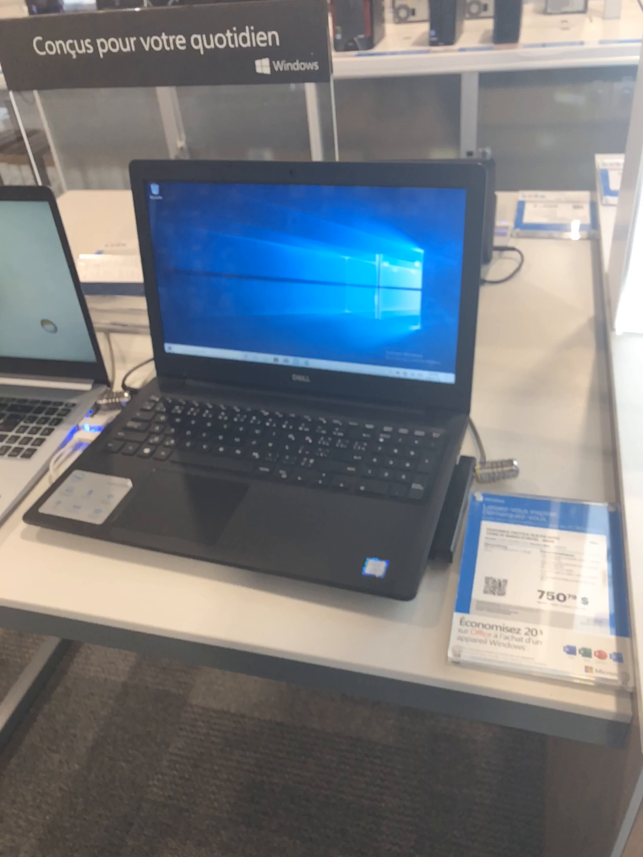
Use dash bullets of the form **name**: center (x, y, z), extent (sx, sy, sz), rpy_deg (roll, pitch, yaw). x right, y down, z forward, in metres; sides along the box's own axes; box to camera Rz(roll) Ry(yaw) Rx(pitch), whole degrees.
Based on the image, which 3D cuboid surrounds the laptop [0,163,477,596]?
- **laptop**: center (-0.068, -0.077, 0.662), extent (0.368, 0.230, 0.311), rpy_deg (8, 38, 18)
